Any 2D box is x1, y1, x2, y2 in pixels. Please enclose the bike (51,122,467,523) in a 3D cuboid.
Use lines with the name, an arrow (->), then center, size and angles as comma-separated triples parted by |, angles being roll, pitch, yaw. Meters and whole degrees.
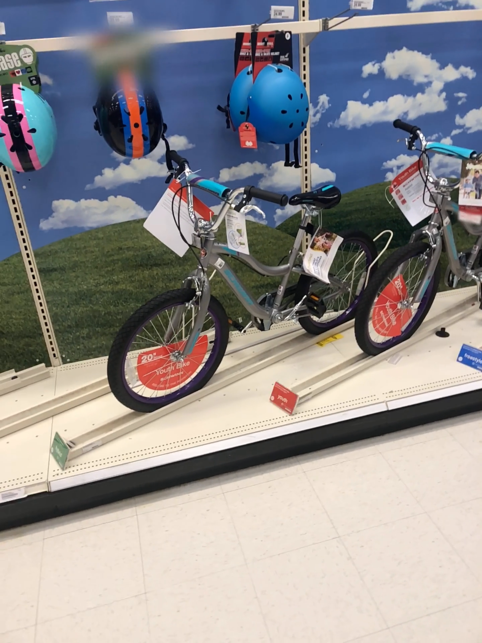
bike -> 0.122, -0.133, 1.991 | 1.322, 0.878, 0.651 | -25, 33, -29
